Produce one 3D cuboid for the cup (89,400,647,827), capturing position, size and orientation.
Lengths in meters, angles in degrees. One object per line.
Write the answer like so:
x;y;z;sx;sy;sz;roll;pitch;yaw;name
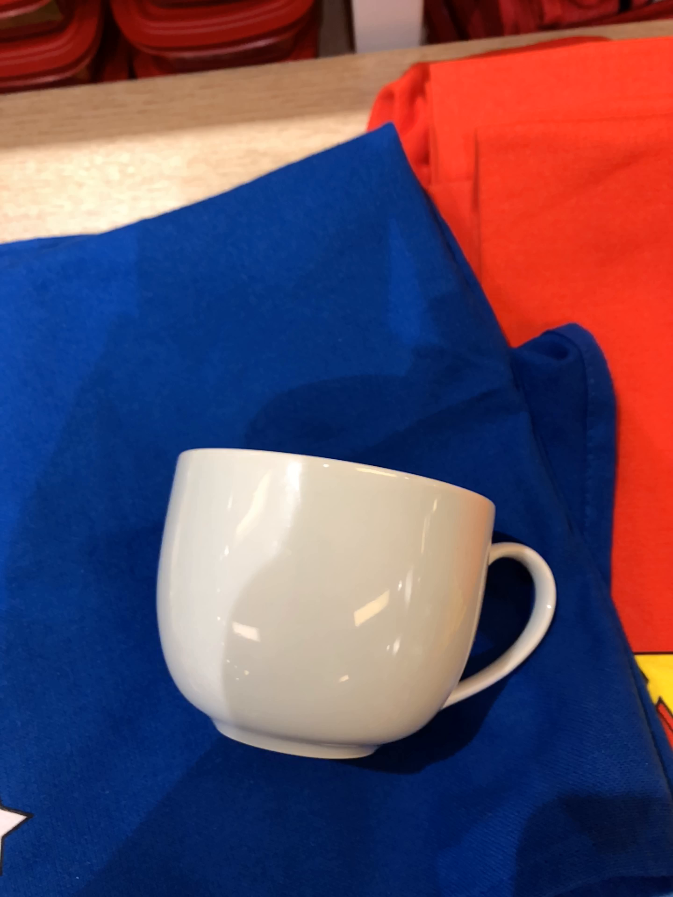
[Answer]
0.008;0.049;0.225;0.130;0.080;0.090;14;81;-25;cup
